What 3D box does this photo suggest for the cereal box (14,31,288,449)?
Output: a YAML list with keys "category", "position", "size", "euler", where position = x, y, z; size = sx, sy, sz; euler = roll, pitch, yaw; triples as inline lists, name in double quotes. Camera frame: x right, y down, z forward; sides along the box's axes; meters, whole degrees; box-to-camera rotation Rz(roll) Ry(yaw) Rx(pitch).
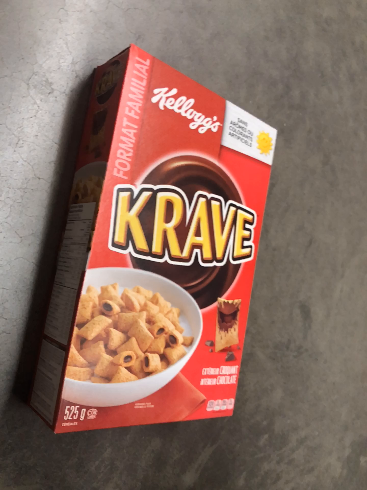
- category: "cereal box"
  position: [-0.014, 0.007, 0.386]
  size: [0.201, 0.070, 0.310]
  euler: [15, 84, -39]
